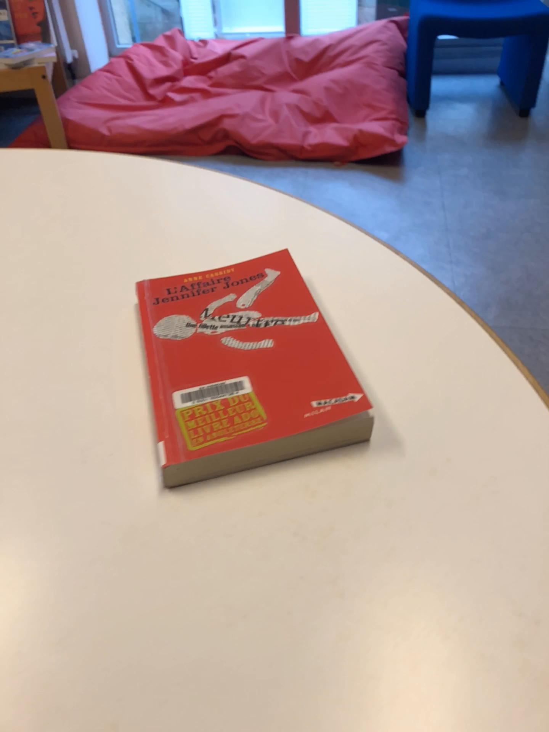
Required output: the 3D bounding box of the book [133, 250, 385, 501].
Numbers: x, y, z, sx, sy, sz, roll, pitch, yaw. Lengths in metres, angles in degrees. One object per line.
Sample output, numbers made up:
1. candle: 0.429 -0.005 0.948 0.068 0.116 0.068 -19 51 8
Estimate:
1. book: -0.023 -0.009 0.436 0.136 0.027 0.203 -14 41 -7
